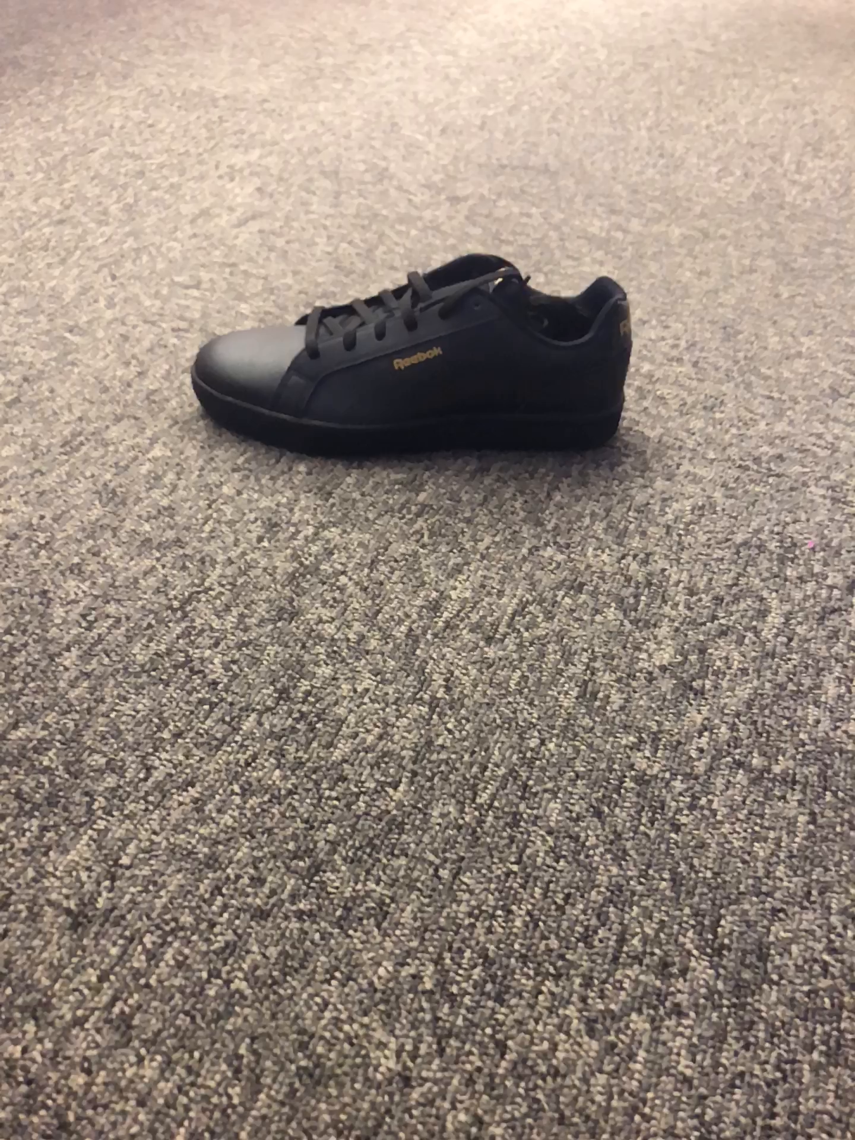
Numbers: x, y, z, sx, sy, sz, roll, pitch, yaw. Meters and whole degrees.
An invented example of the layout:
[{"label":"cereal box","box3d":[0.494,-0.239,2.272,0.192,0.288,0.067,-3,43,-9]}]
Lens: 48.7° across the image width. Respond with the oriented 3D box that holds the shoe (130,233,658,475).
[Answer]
[{"label":"shoe","box3d":[-0.015,-0.123,0.530,0.260,0.089,0.099,2,41,2]}]
